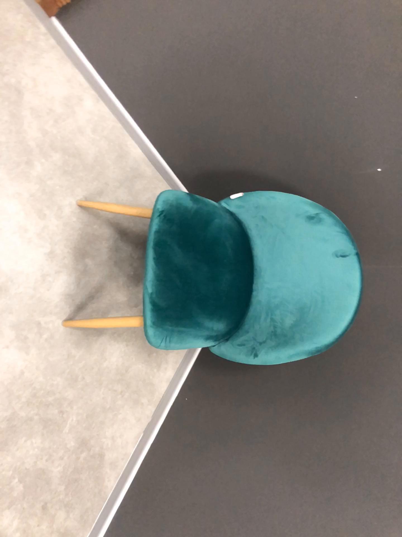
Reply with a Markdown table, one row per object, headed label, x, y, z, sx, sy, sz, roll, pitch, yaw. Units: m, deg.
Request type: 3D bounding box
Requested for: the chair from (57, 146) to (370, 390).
| label | x | y | z | sx | sy | sz | roll | pitch | yaw |
| --- | --- | --- | --- | --- | --- | --- | --- | --- | --- |
| chair | 0.012 | 0.019 | 1.461 | 0.543 | 0.855 | 0.540 | 9 | 84 | -45 |
